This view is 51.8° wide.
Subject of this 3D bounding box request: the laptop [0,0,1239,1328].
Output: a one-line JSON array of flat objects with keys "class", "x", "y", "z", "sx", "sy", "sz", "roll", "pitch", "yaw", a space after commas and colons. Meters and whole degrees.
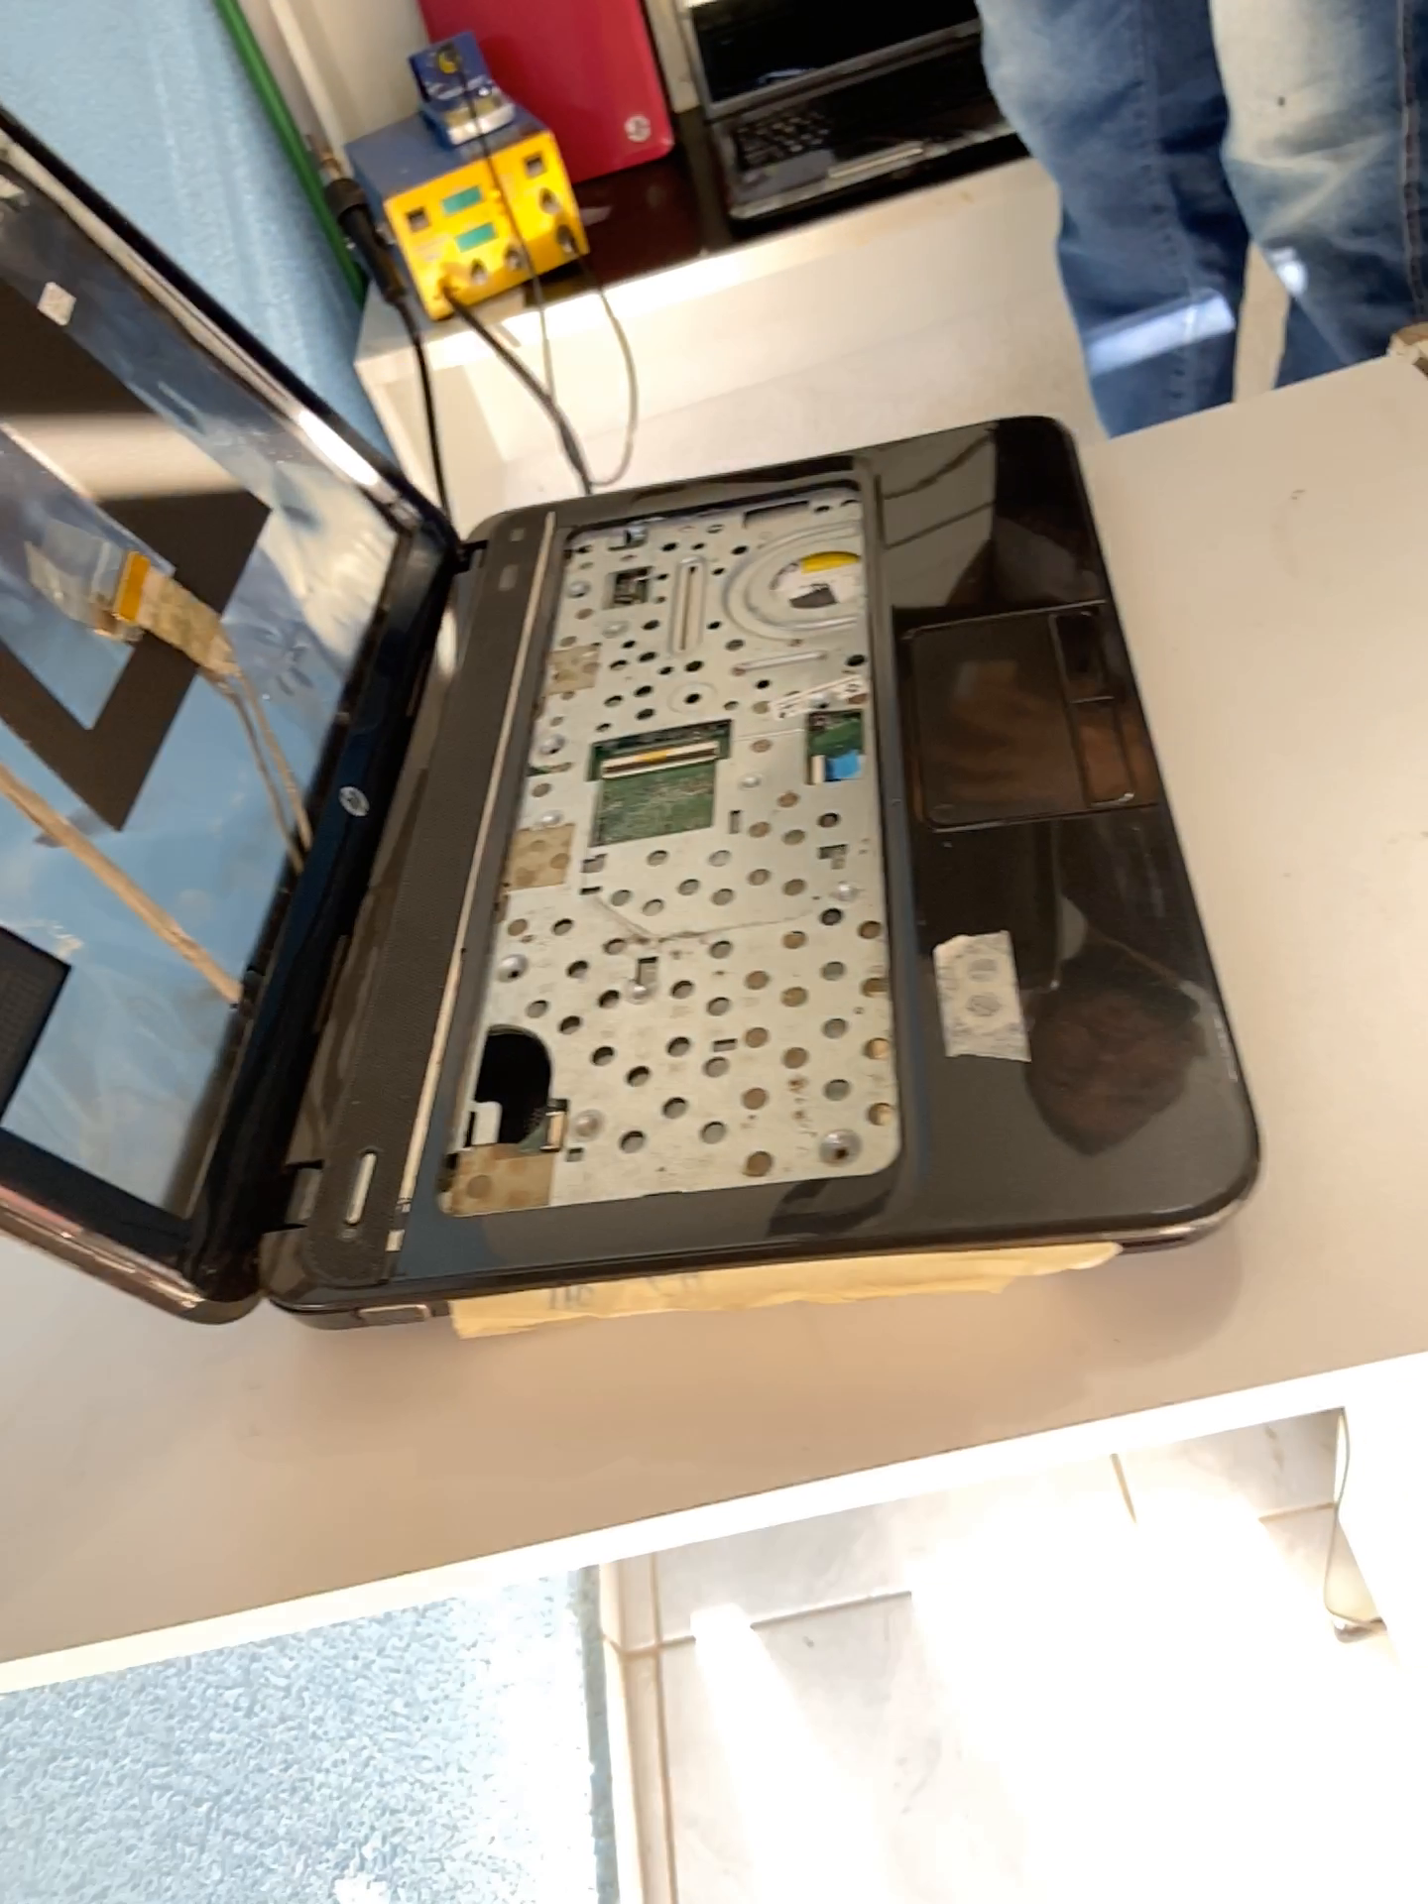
[{"class": "laptop", "x": -0.071, "y": -0.114, "z": 0.382, "sx": 0.324, "sy": 0.186, "sz": 0.337, "roll": -9, "pitch": 45, "yaw": 12}]
